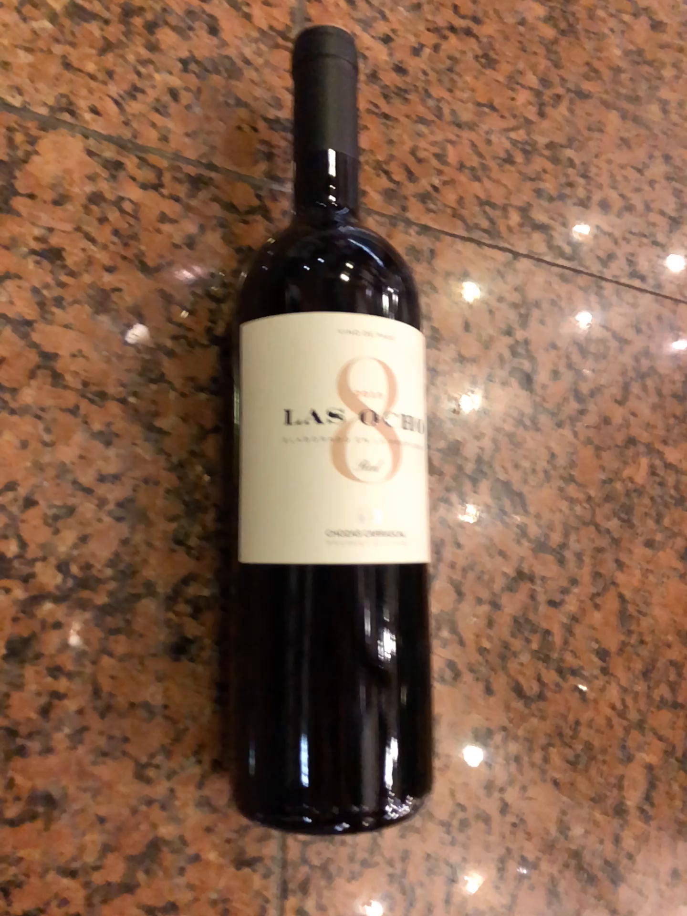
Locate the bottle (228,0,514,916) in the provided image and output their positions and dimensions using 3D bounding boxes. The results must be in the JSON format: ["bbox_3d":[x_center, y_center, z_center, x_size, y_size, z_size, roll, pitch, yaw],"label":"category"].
[{"bbox_3d":[0.012,-0.013,0.309,0.090,0.060,0.330,6,81,-31],"label":"bottle"}]
